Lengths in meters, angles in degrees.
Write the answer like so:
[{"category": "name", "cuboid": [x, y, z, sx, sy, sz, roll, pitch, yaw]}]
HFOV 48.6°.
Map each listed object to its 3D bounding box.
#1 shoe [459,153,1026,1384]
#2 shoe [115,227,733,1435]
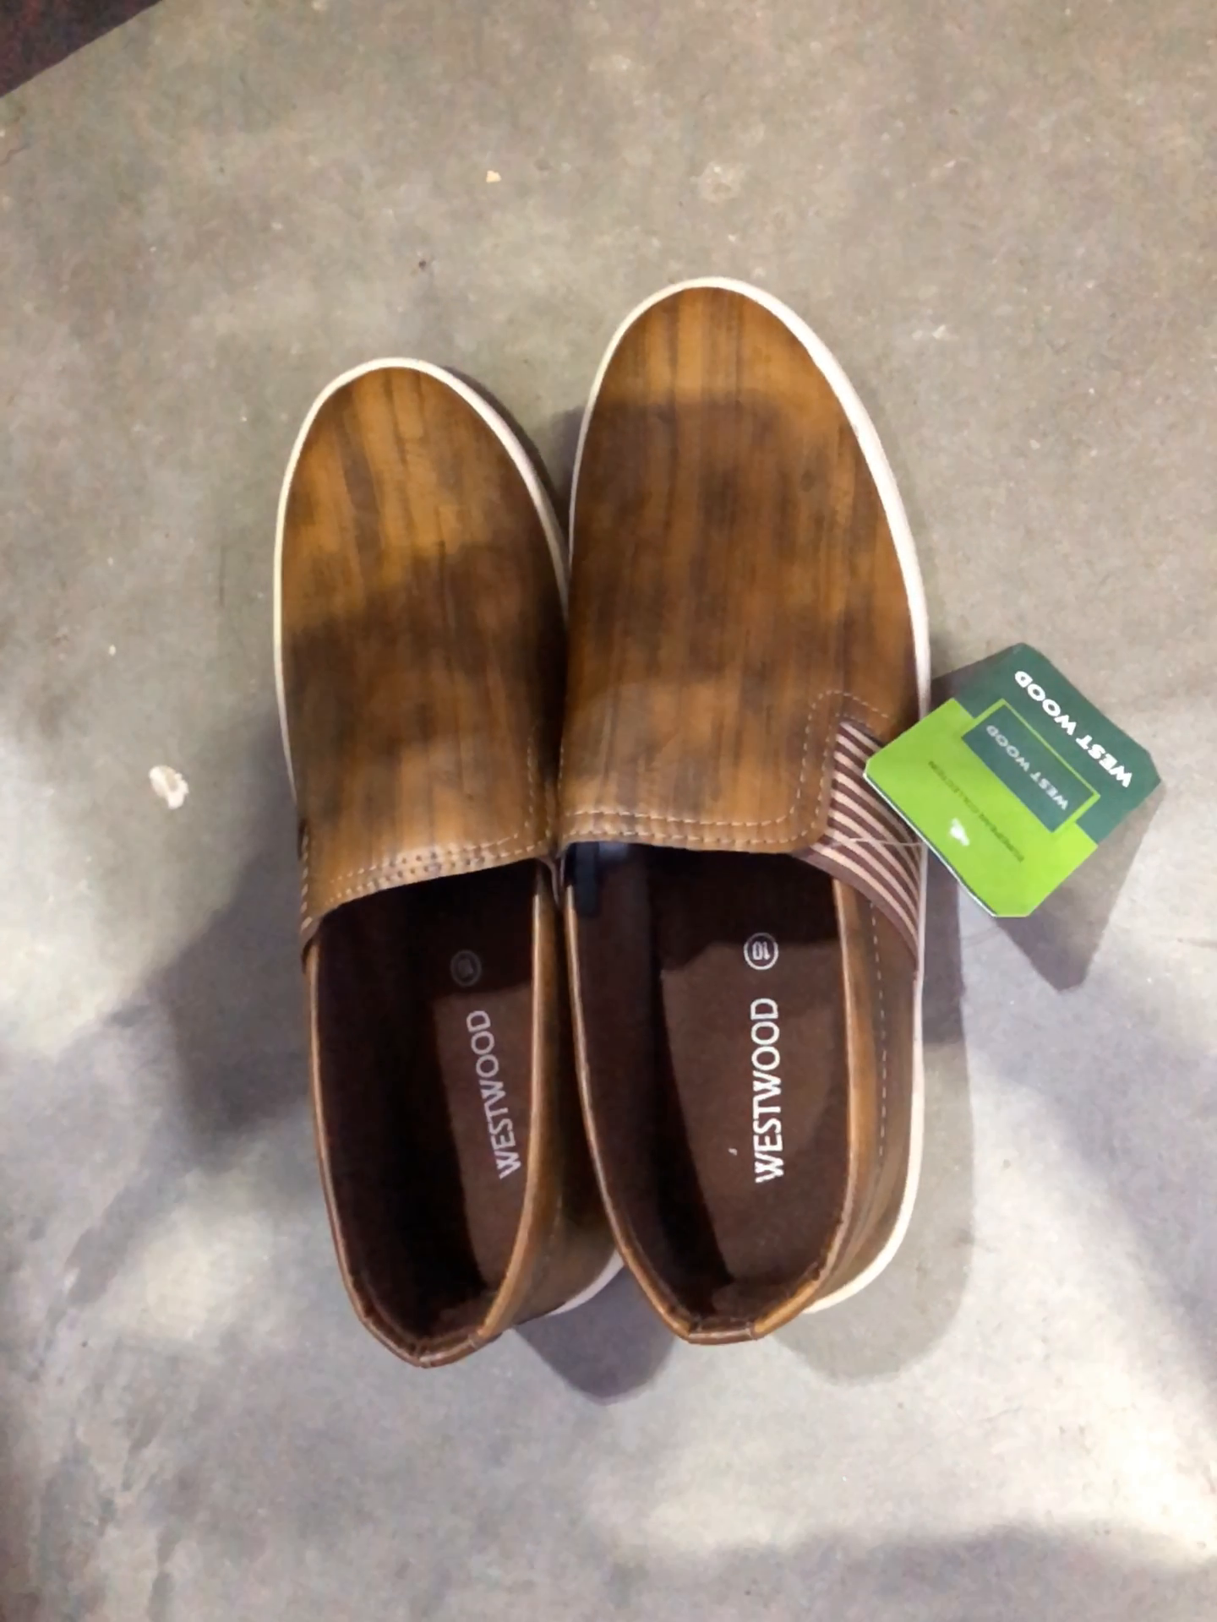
[{"category": "shoe", "cuboid": [0.040, -0.007, 0.376, 0.110, 0.100, 0.290, -7, 82, 18]}, {"category": "shoe", "cuboid": [-0.051, 0.006, 0.385, 0.100, 0.100, 0.290, -13, 80, 17]}]
